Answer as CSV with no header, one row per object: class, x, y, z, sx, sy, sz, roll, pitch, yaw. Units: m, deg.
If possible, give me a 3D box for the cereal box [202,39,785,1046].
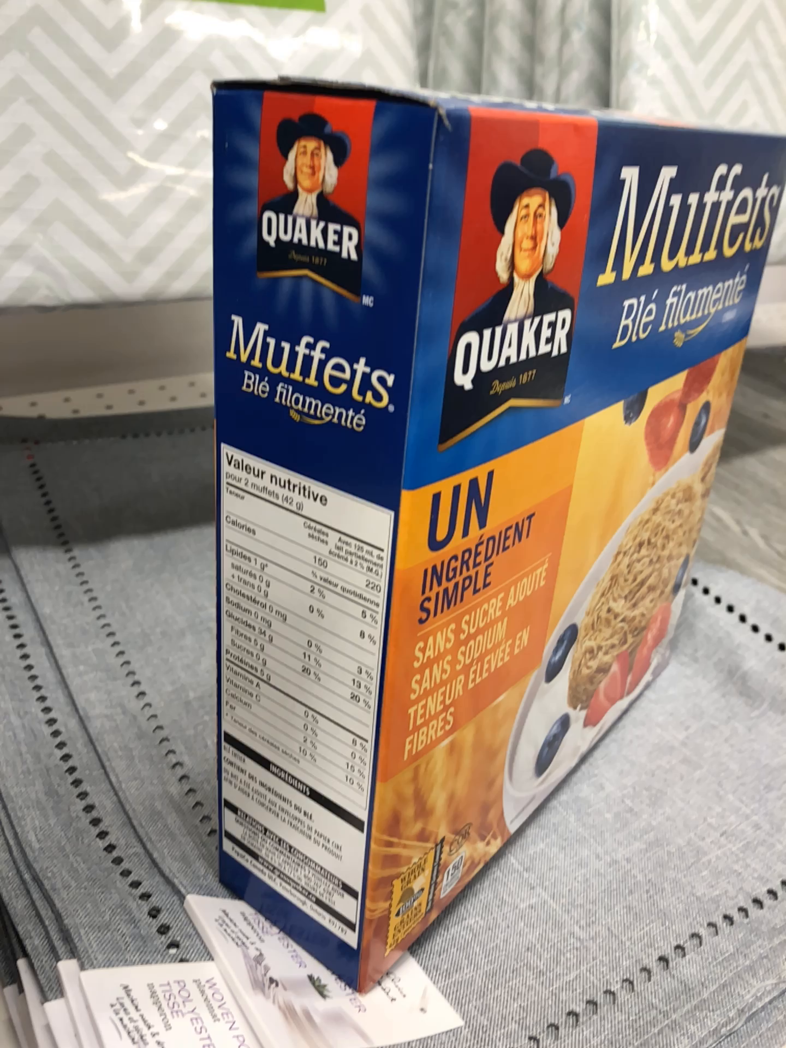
cereal box,0.056,-0.015,0.290,0.060,0.229,0.250,21,29,32
